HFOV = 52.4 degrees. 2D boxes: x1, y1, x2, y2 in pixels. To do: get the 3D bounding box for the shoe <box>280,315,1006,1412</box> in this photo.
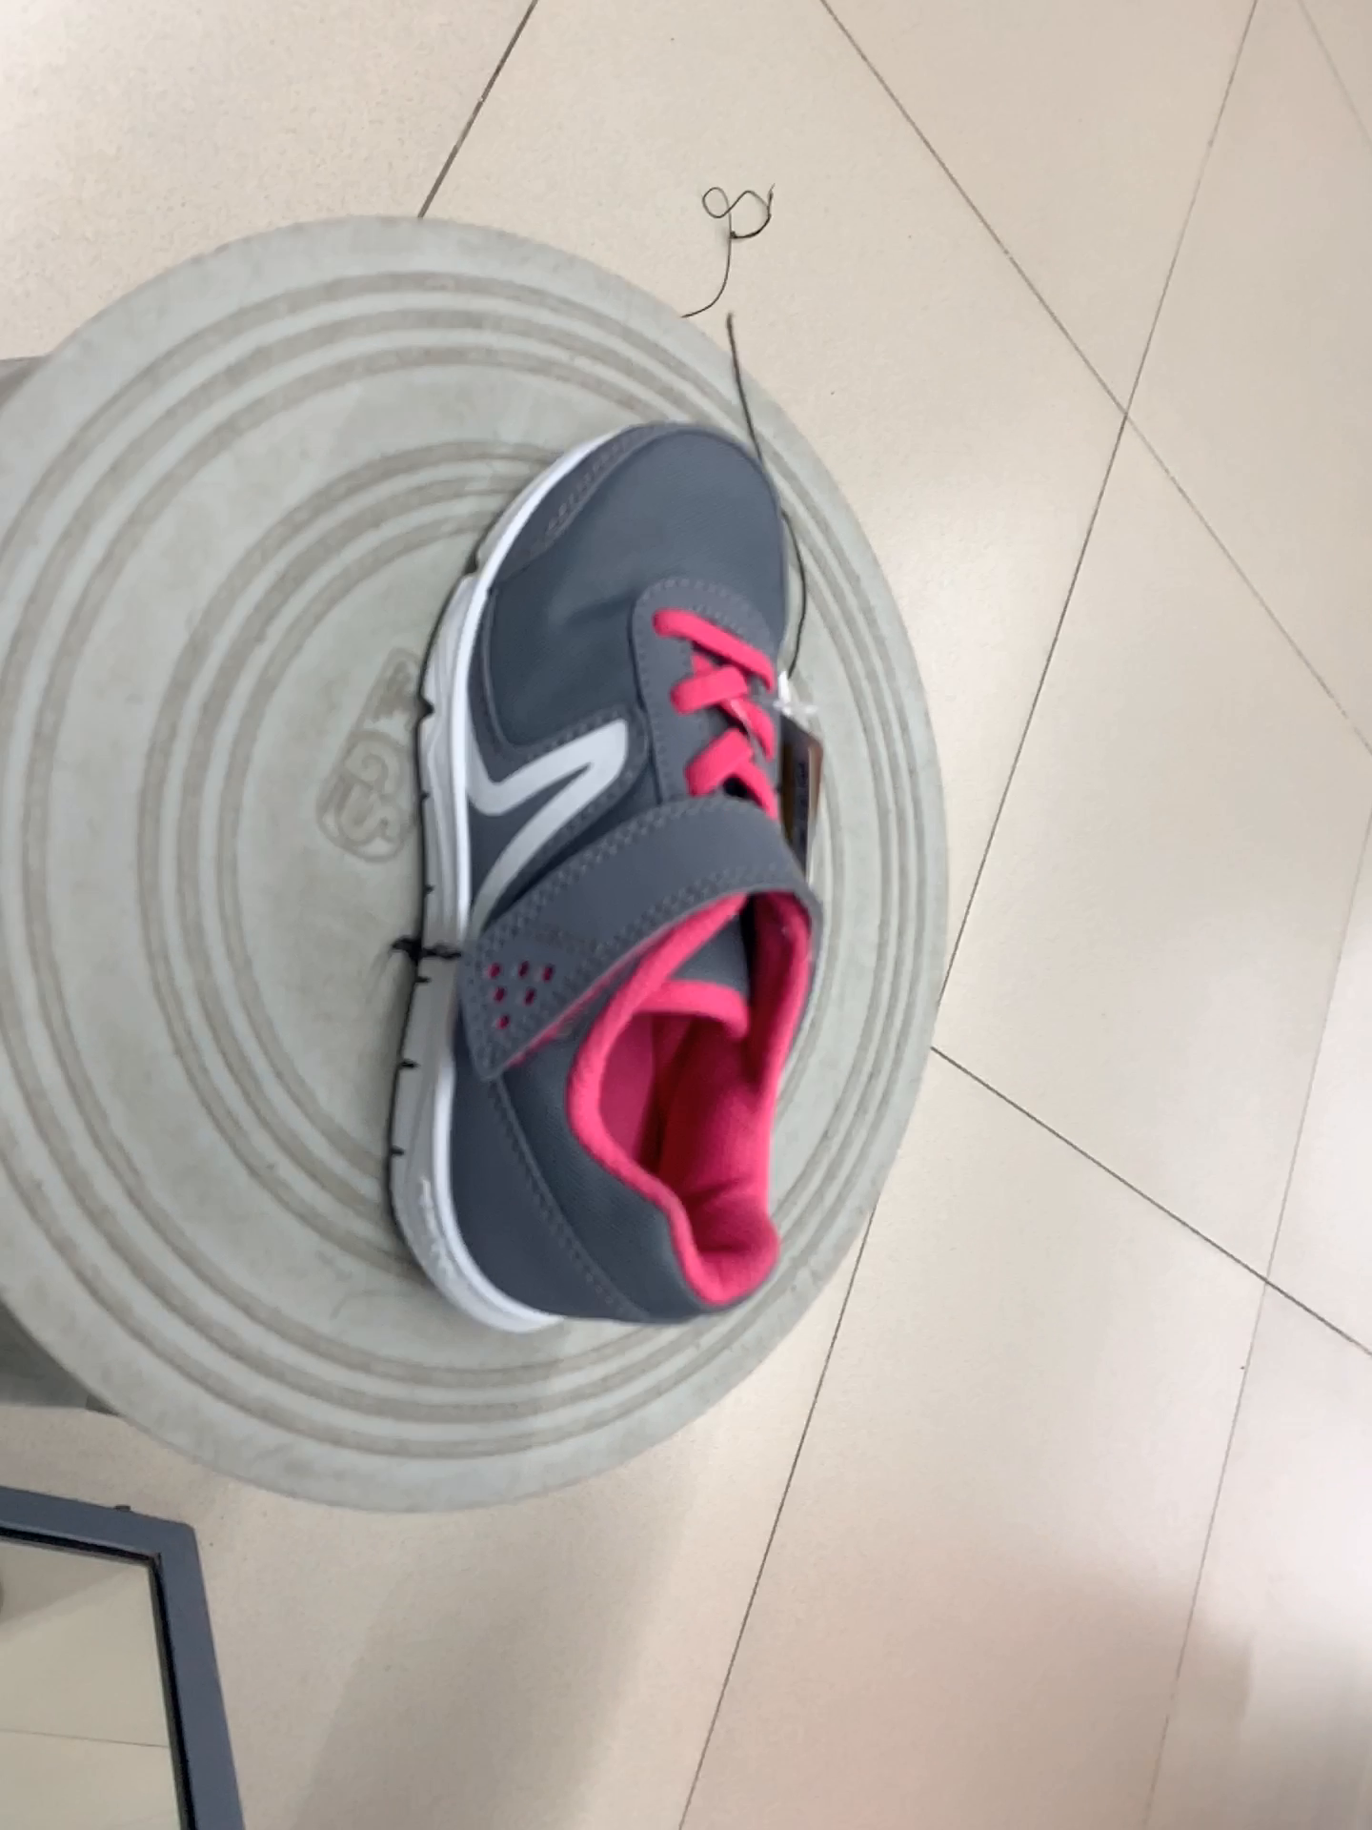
[{"bbox_3d":[-0.008,-0.005,0.266,0.070,0.090,0.170,16,79,-40],"label":"shoe"}]
